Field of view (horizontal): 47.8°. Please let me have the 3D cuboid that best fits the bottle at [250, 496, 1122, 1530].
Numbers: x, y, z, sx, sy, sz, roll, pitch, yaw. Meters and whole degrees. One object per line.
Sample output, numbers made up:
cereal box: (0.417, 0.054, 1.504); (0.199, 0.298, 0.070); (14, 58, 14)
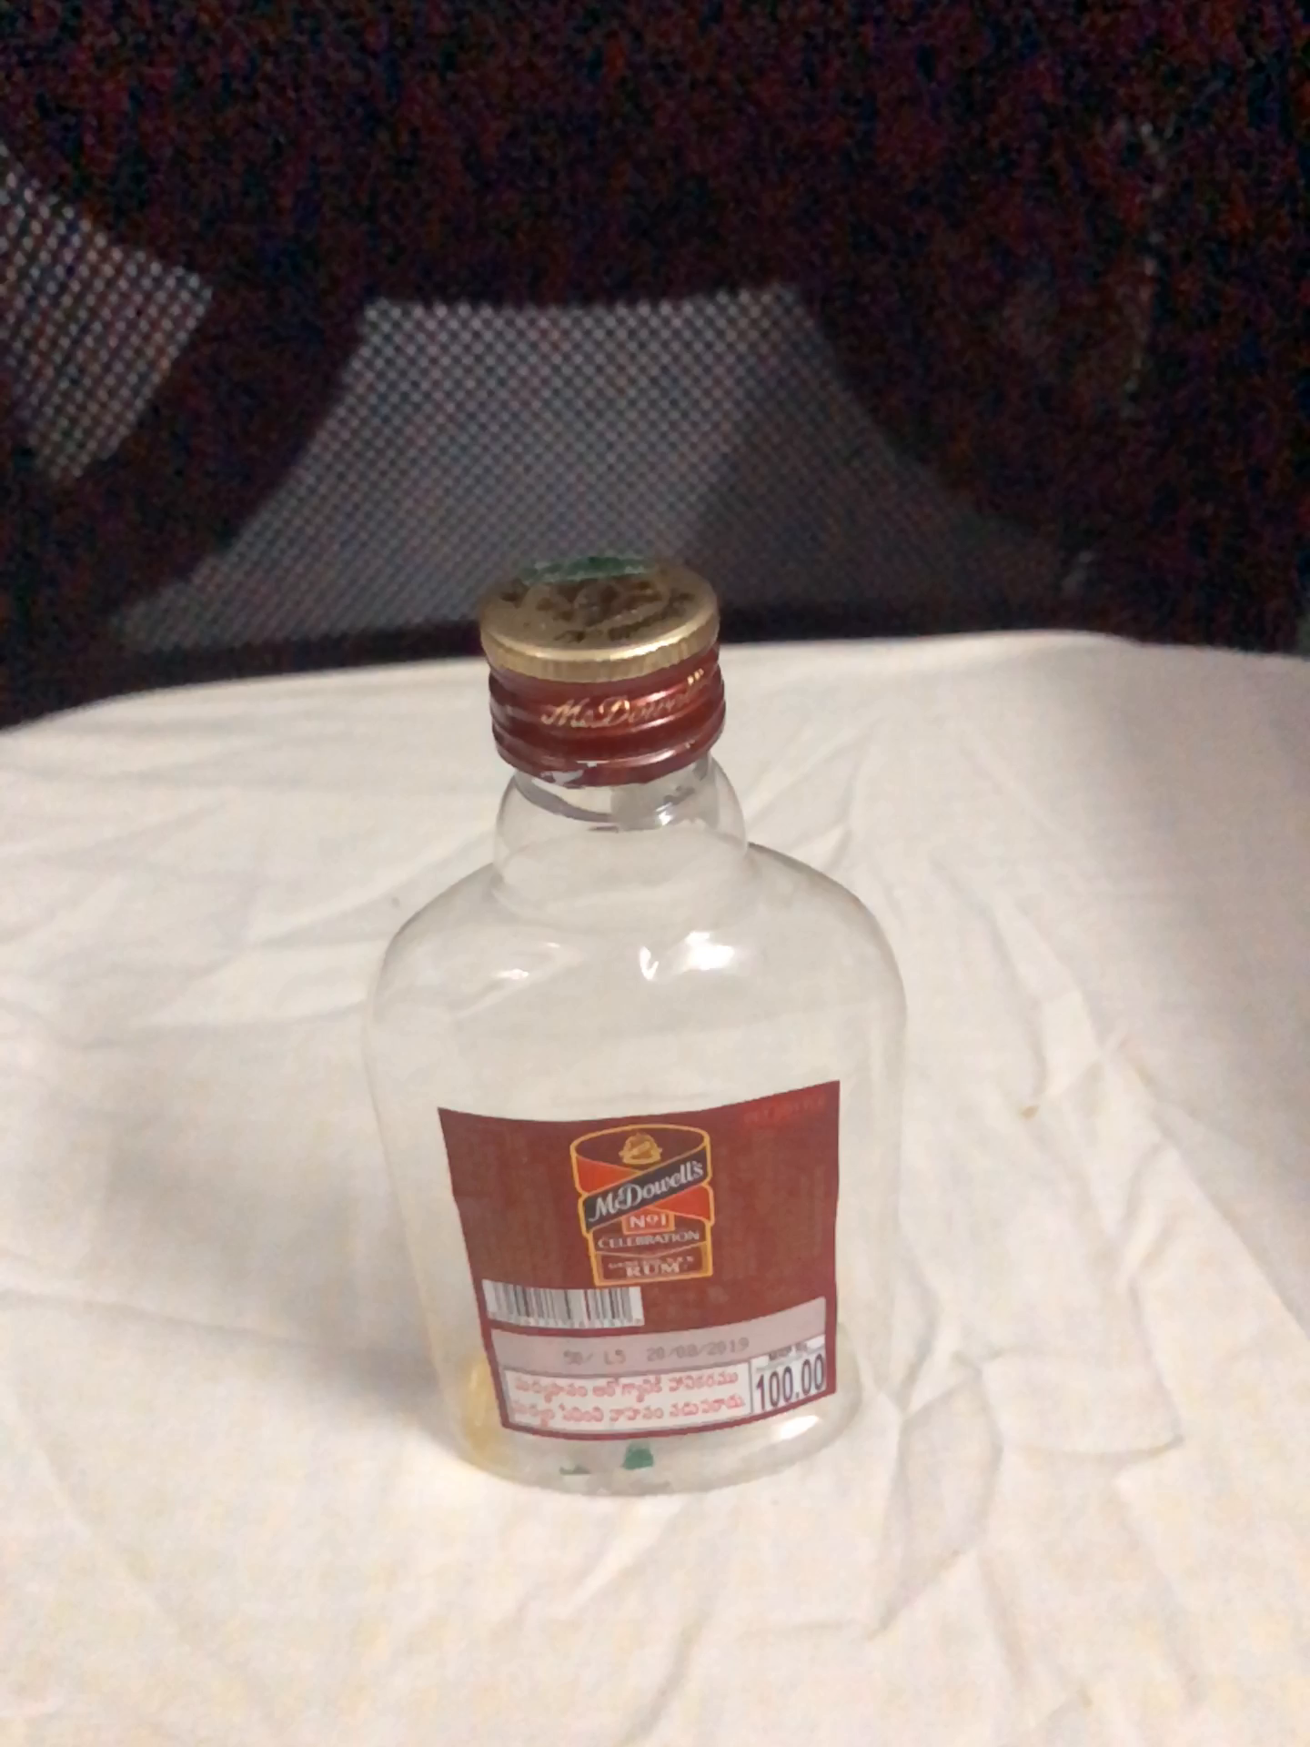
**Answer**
bottle: (0.003, 0.027, 0.193); (0.080, 0.139, 0.040); (-3, 37, -3)
